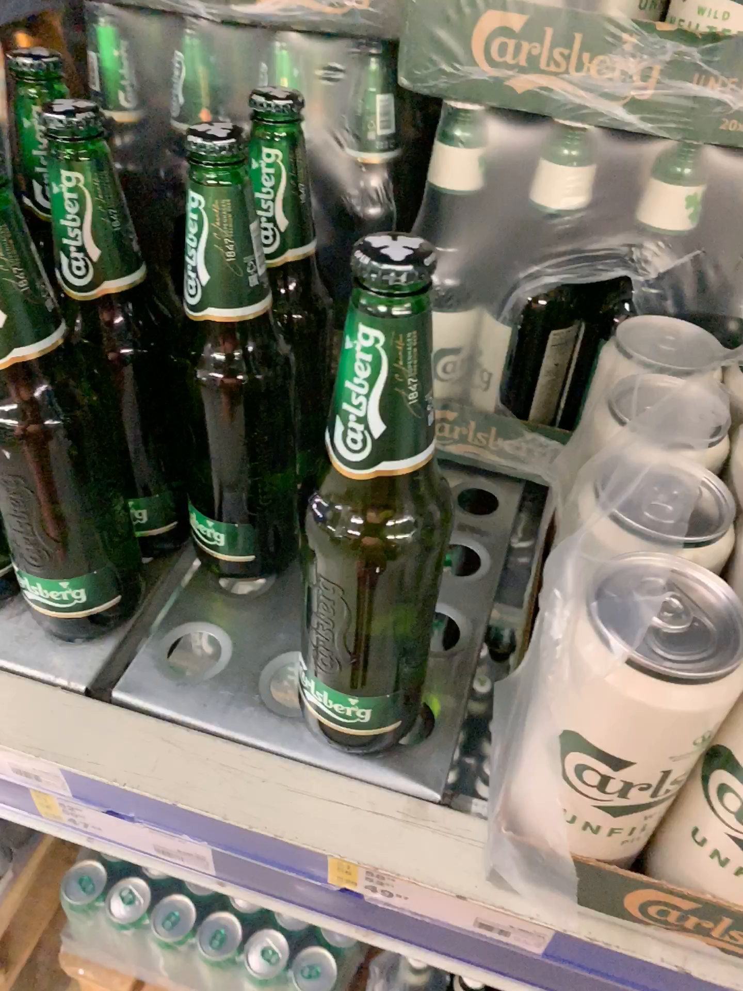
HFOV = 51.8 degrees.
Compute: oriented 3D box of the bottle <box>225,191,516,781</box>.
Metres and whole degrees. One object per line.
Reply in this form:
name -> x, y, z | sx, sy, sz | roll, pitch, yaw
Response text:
bottle -> -0.005, 0.015, 0.320 | 0.071, 0.248, 0.060 | 21, 44, 18
